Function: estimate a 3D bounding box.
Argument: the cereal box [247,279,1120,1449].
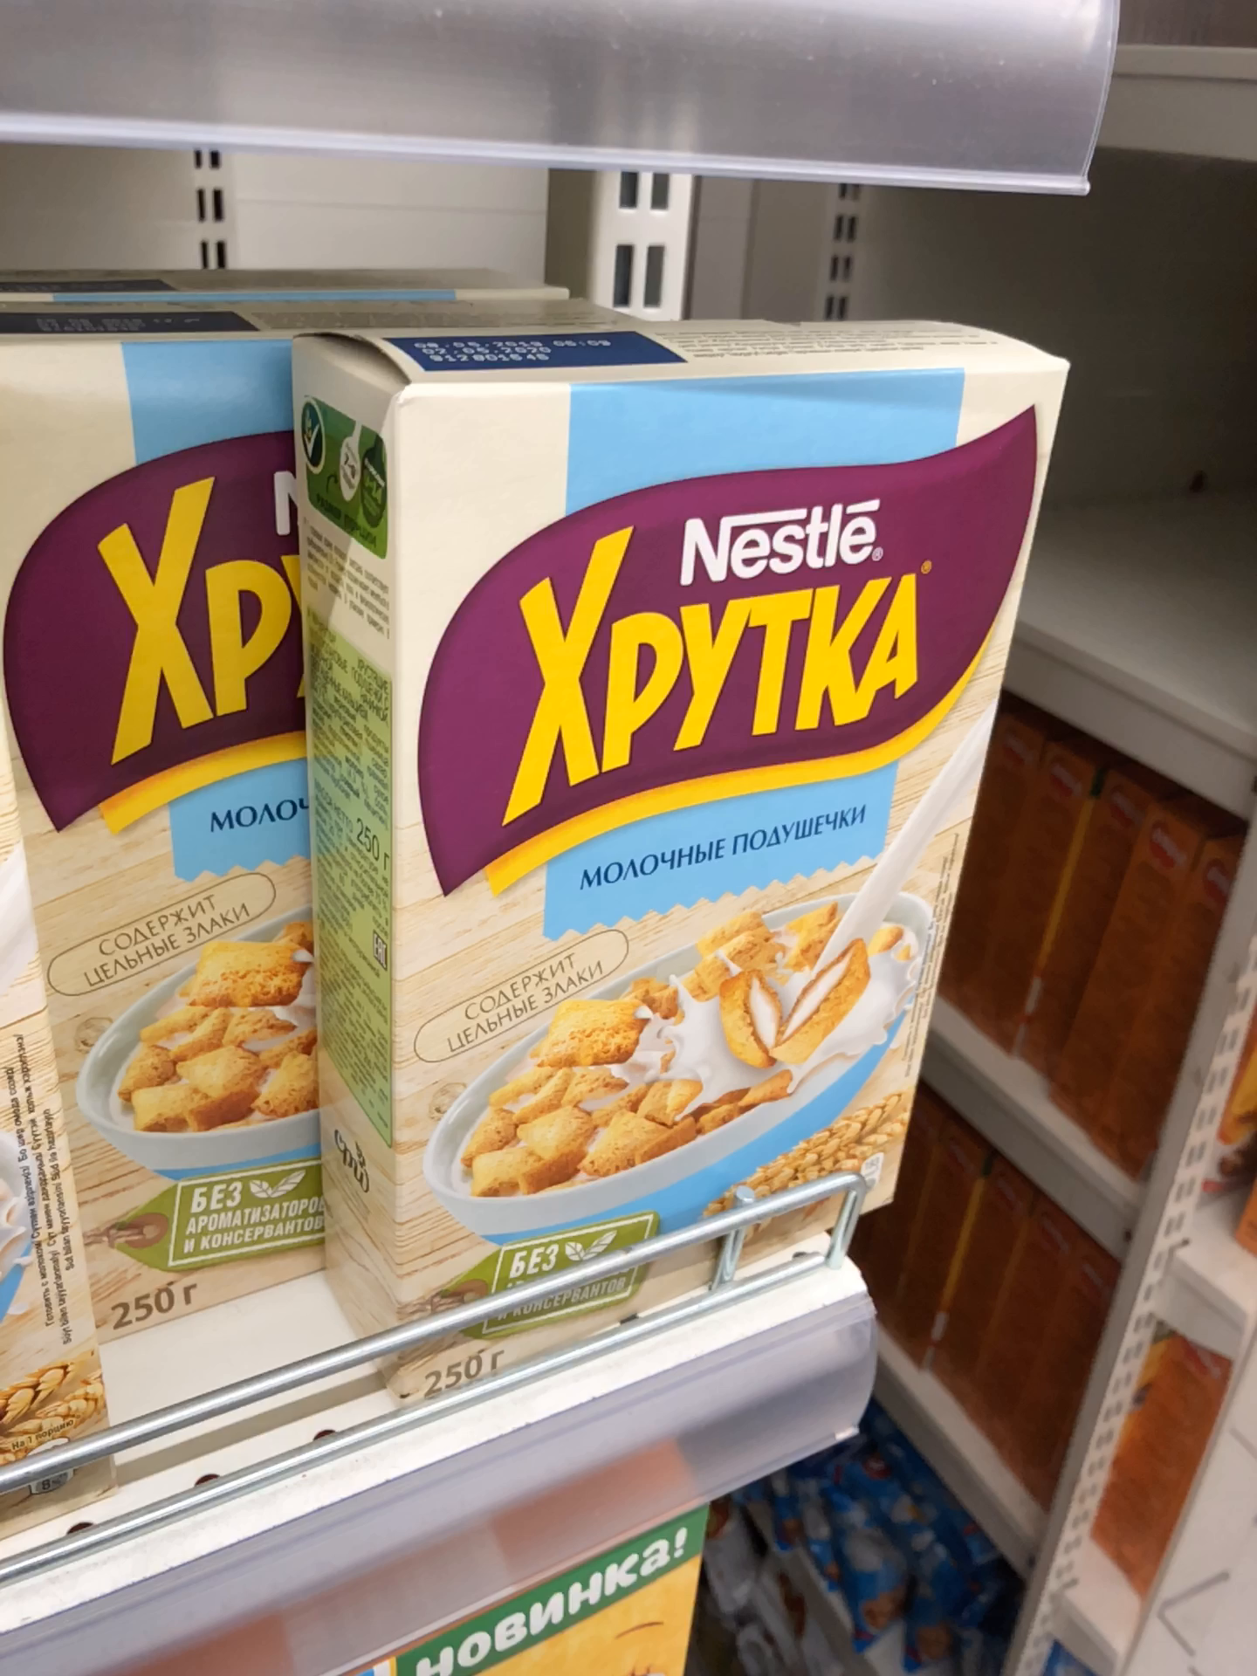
[{"bbox_3d":[0.008,0.003,0.294,0.150,0.219,0.050,-13,33,-30],"label":"cereal box"}]
